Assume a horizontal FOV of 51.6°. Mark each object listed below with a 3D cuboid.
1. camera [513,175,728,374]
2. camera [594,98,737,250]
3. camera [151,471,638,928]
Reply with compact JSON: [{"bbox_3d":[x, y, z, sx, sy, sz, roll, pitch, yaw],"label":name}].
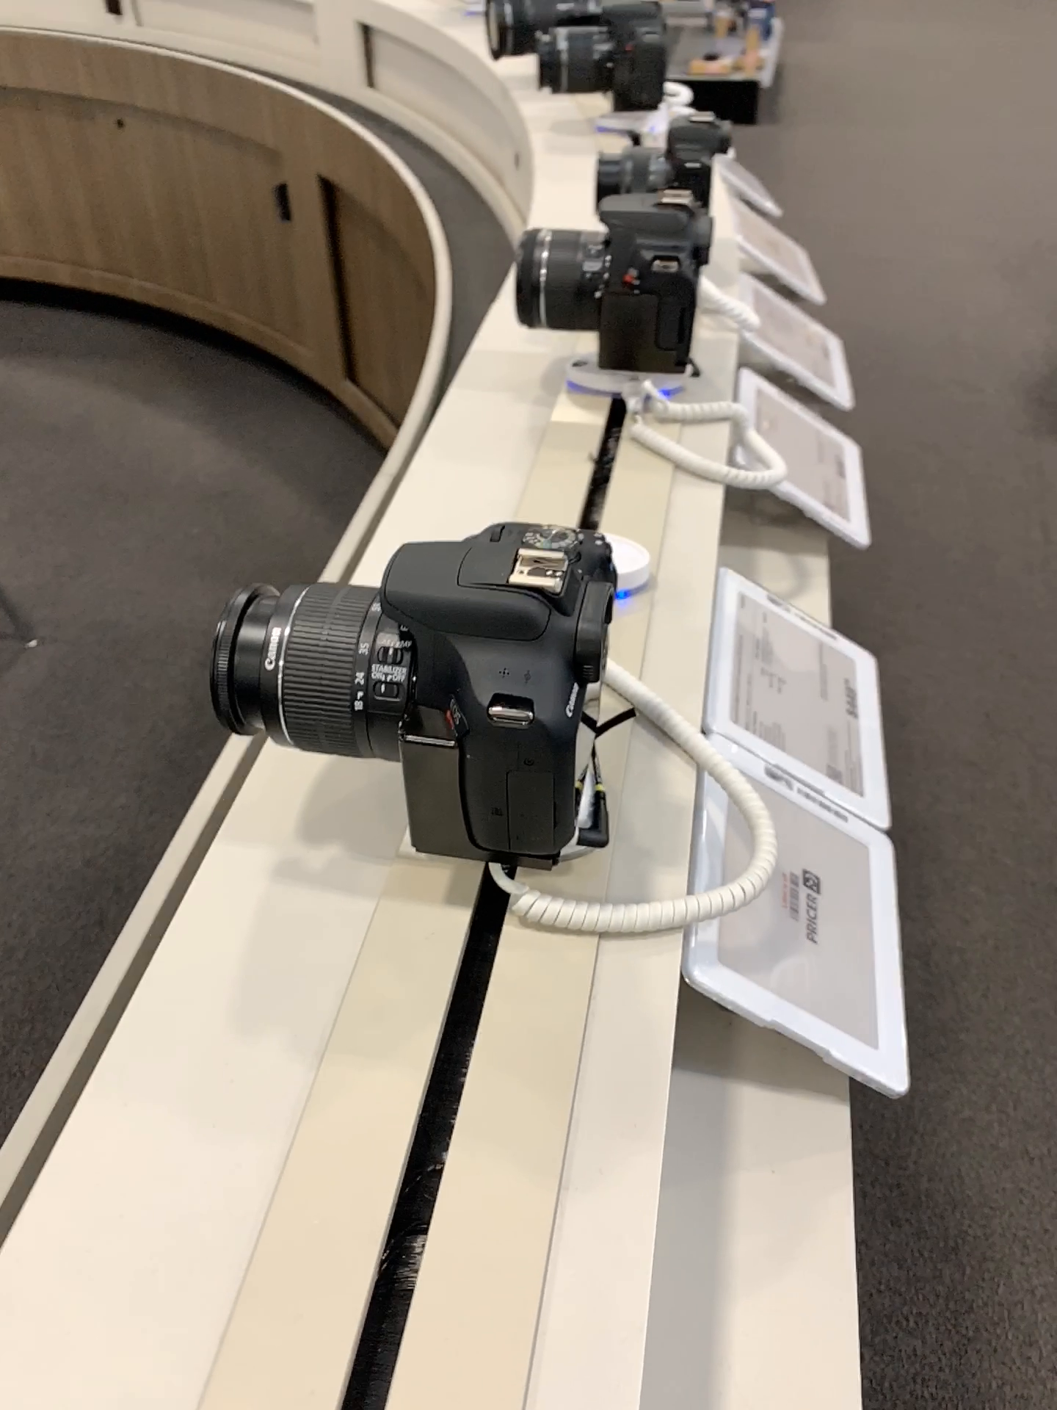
[{"bbox_3d":[0.064,-0.301,0.762,0.135,0.089,0.122,3,42,5],"label":"camera"},{"bbox_3d":[0.116,-0.455,0.935,0.111,0.088,0.112,3,42,5],"label":"camera"},{"bbox_3d":[-0.040,-0.008,0.433,0.145,0.101,0.135,7,43,9],"label":"camera"}]
